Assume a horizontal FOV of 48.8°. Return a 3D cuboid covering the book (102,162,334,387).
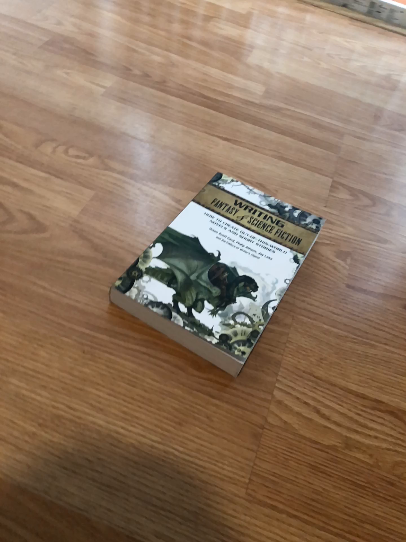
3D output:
[{"bbox_3d":[0.027,-0.014,0.493,0.165,0.040,0.229,29,51,11],"label":"book"}]
